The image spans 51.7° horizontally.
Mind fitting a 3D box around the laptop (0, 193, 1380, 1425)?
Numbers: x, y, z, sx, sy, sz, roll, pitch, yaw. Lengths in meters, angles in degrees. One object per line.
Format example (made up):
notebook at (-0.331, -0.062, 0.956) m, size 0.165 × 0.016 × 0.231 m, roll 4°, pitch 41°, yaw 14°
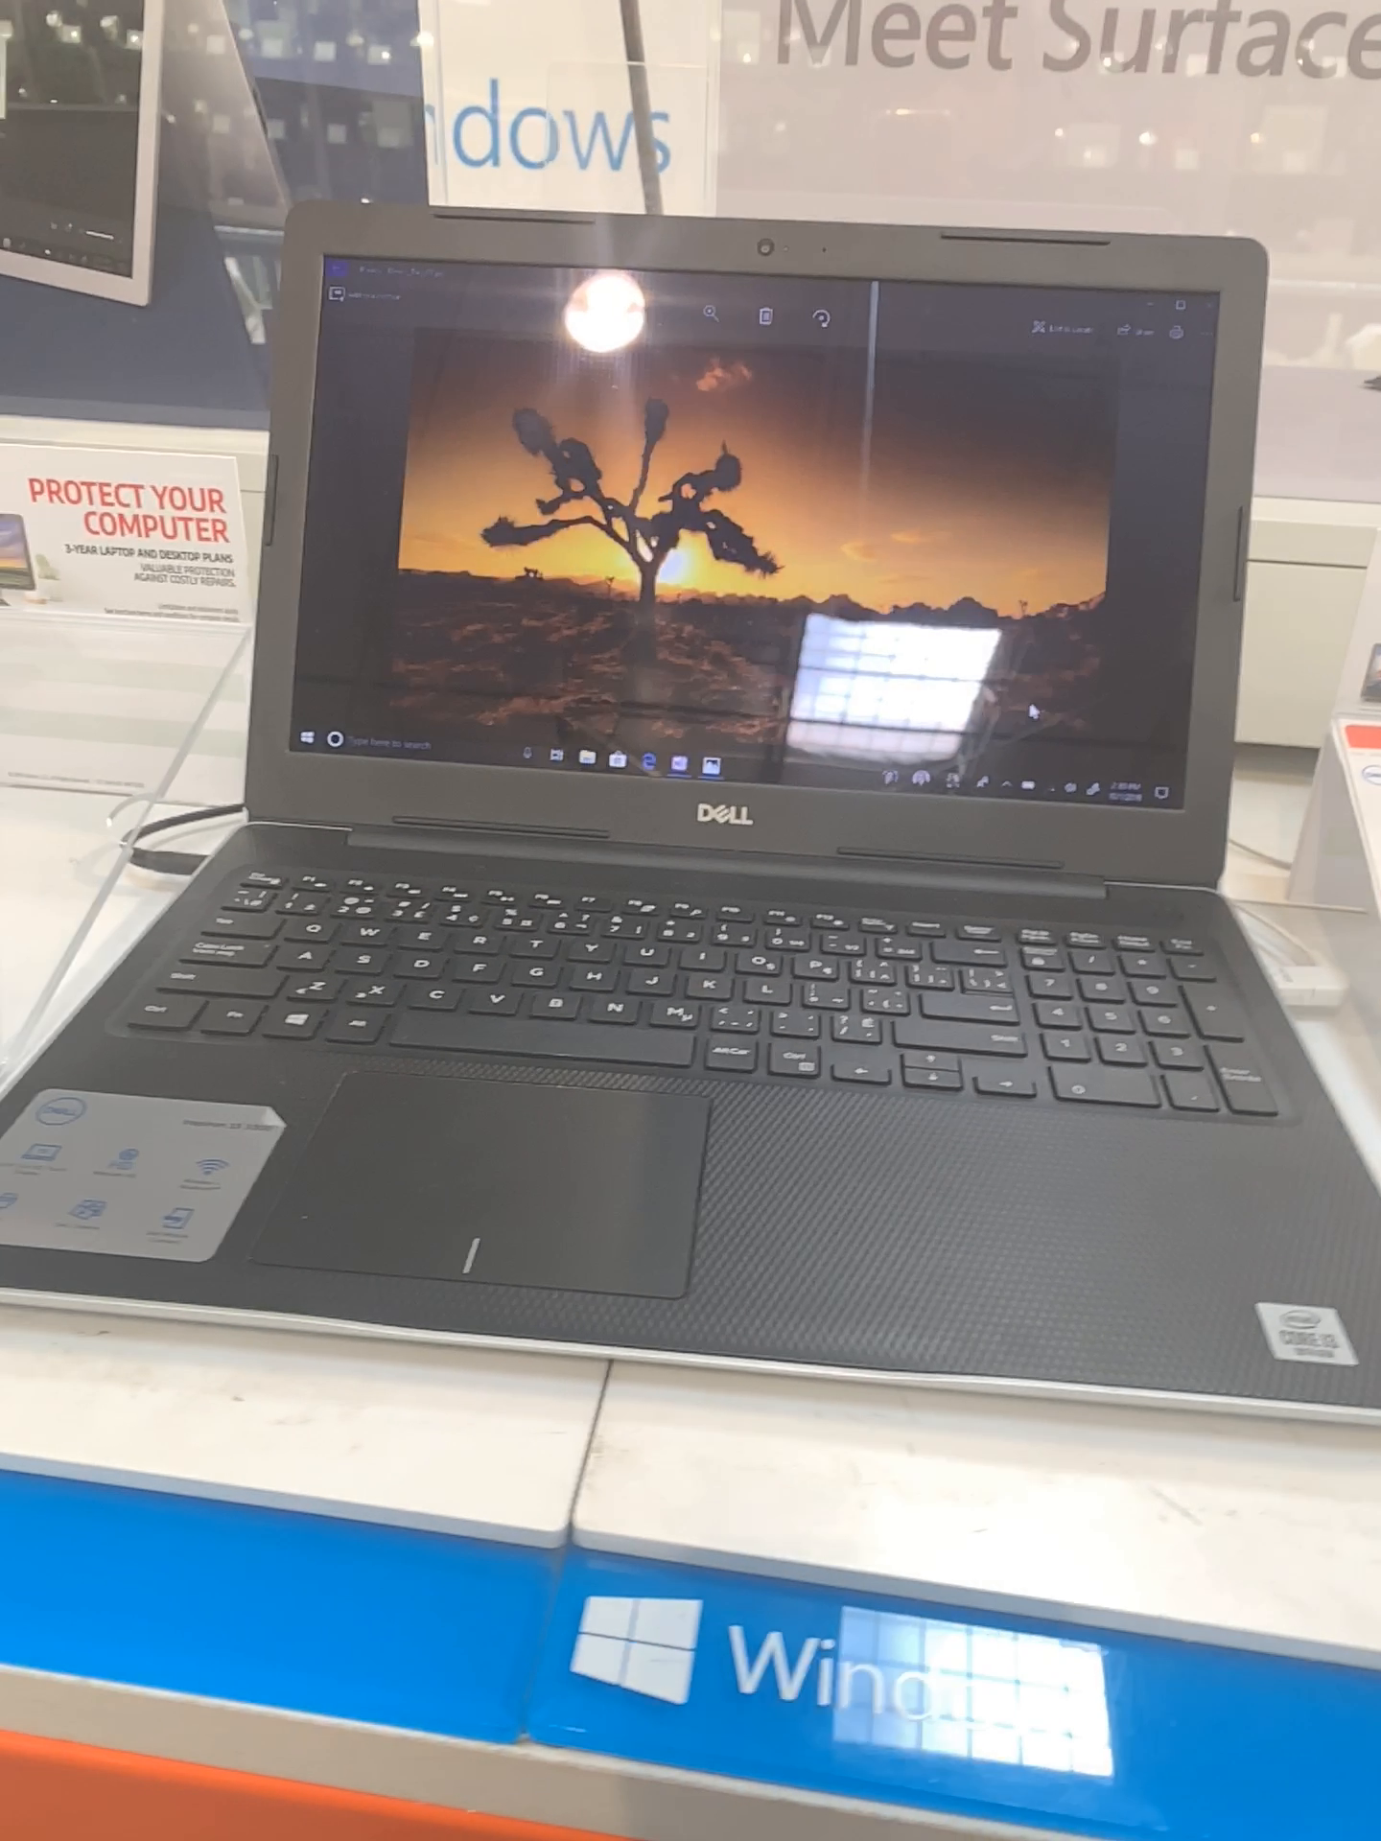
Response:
laptop at (0.011, -0.080, 0.407) m, size 0.357 × 0.205 × 0.343 m, roll 4°, pitch 28°, yaw 2°
